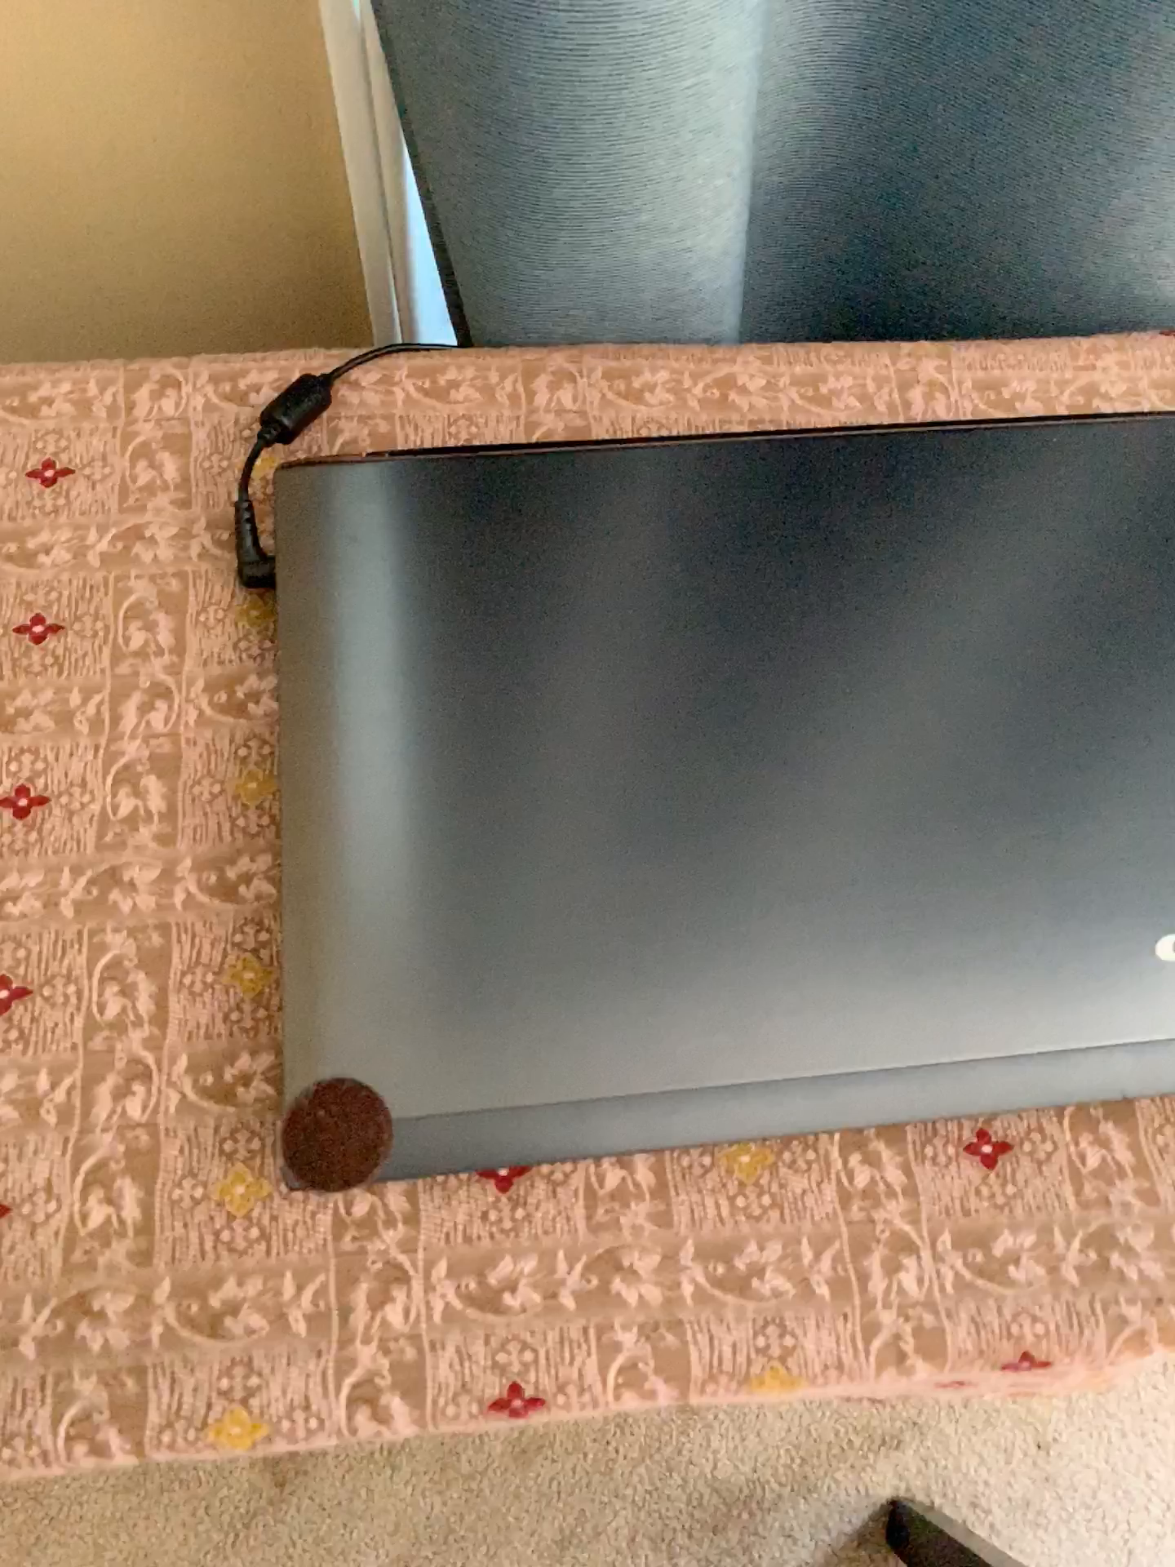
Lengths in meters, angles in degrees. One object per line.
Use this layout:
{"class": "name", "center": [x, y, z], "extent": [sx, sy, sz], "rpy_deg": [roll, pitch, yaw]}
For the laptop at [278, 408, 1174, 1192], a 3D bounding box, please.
{"class": "laptop", "center": [0.085, -0.010, 0.375], "extent": [0.356, 0.011, 0.223], "rpy_deg": [-5, 70, -4]}
